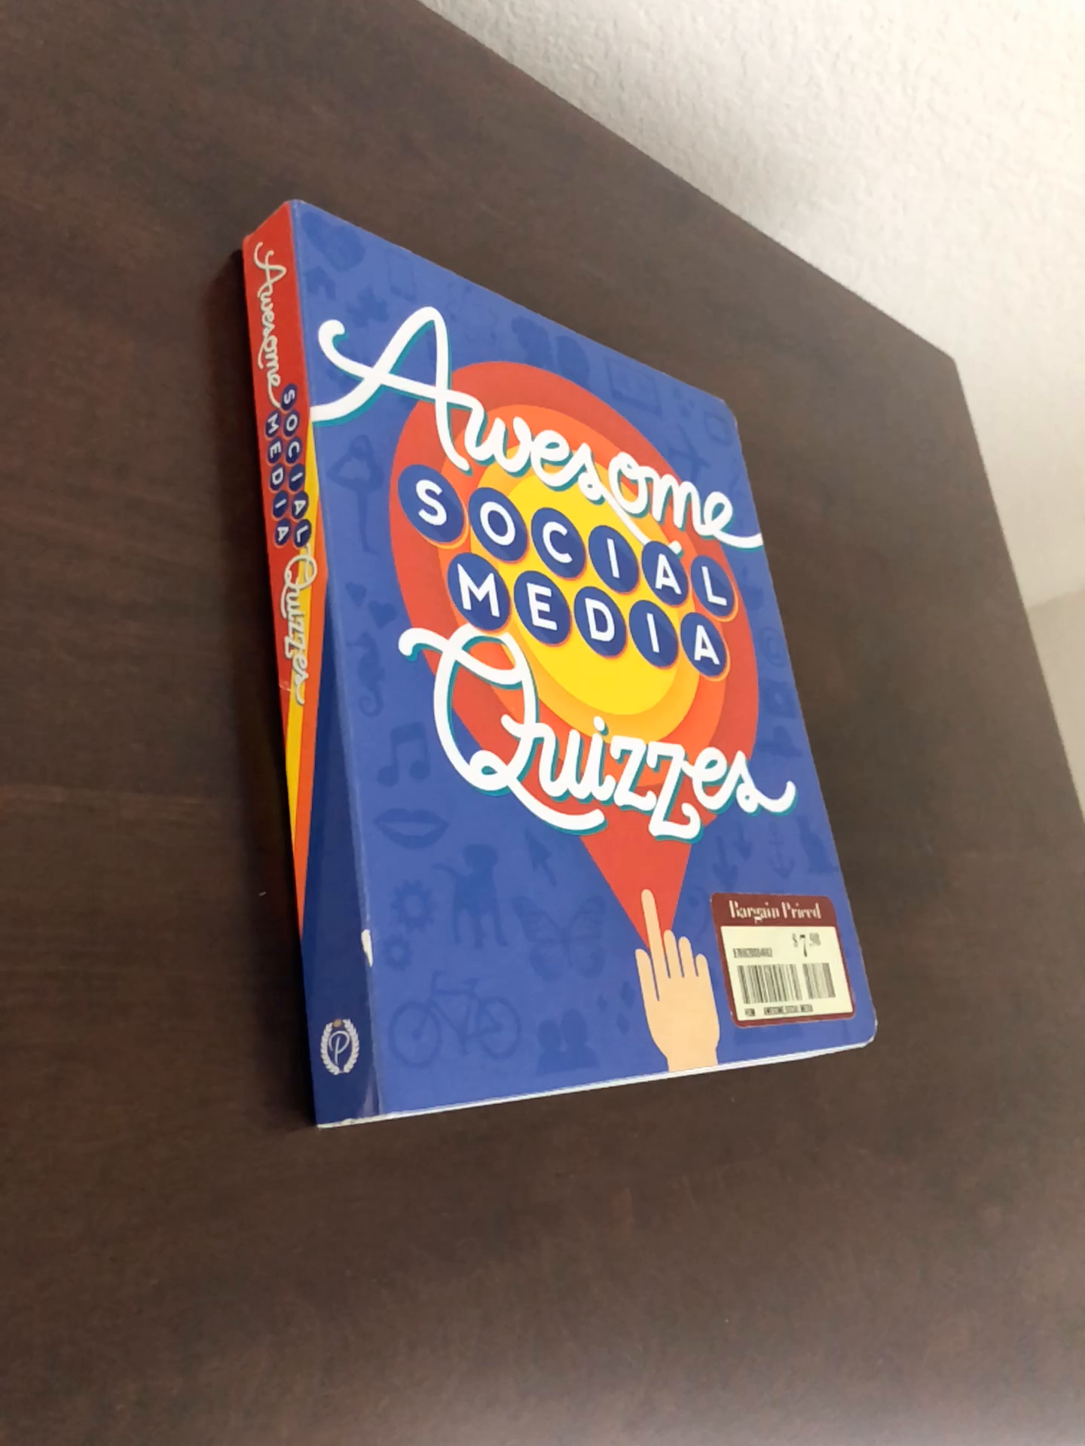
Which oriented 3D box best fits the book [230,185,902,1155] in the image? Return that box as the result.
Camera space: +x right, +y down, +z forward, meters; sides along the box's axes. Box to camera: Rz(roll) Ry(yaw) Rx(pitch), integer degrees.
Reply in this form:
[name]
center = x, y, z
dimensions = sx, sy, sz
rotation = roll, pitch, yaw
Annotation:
[book]
center = 0.012, -0.011, 0.299
dimensions = 0.173, 0.020, 0.200
rotation = 9, 65, -44
